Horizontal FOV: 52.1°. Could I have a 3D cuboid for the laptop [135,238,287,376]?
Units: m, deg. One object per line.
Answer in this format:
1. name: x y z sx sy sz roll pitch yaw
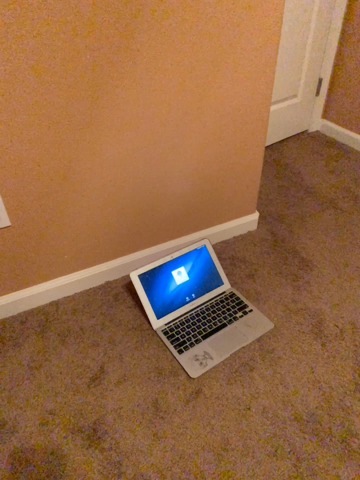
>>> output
1. laptop: 0.082 0.170 1.088 0.299 0.116 0.325 -23 42 -27
